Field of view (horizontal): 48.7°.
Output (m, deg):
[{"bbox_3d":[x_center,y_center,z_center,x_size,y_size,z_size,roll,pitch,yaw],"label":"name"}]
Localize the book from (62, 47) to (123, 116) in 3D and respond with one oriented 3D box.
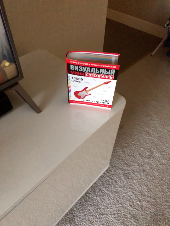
[{"bbox_3d":[0.017,-0.084,0.541,0.150,0.179,0.060,7,47,3],"label":"book"}]
